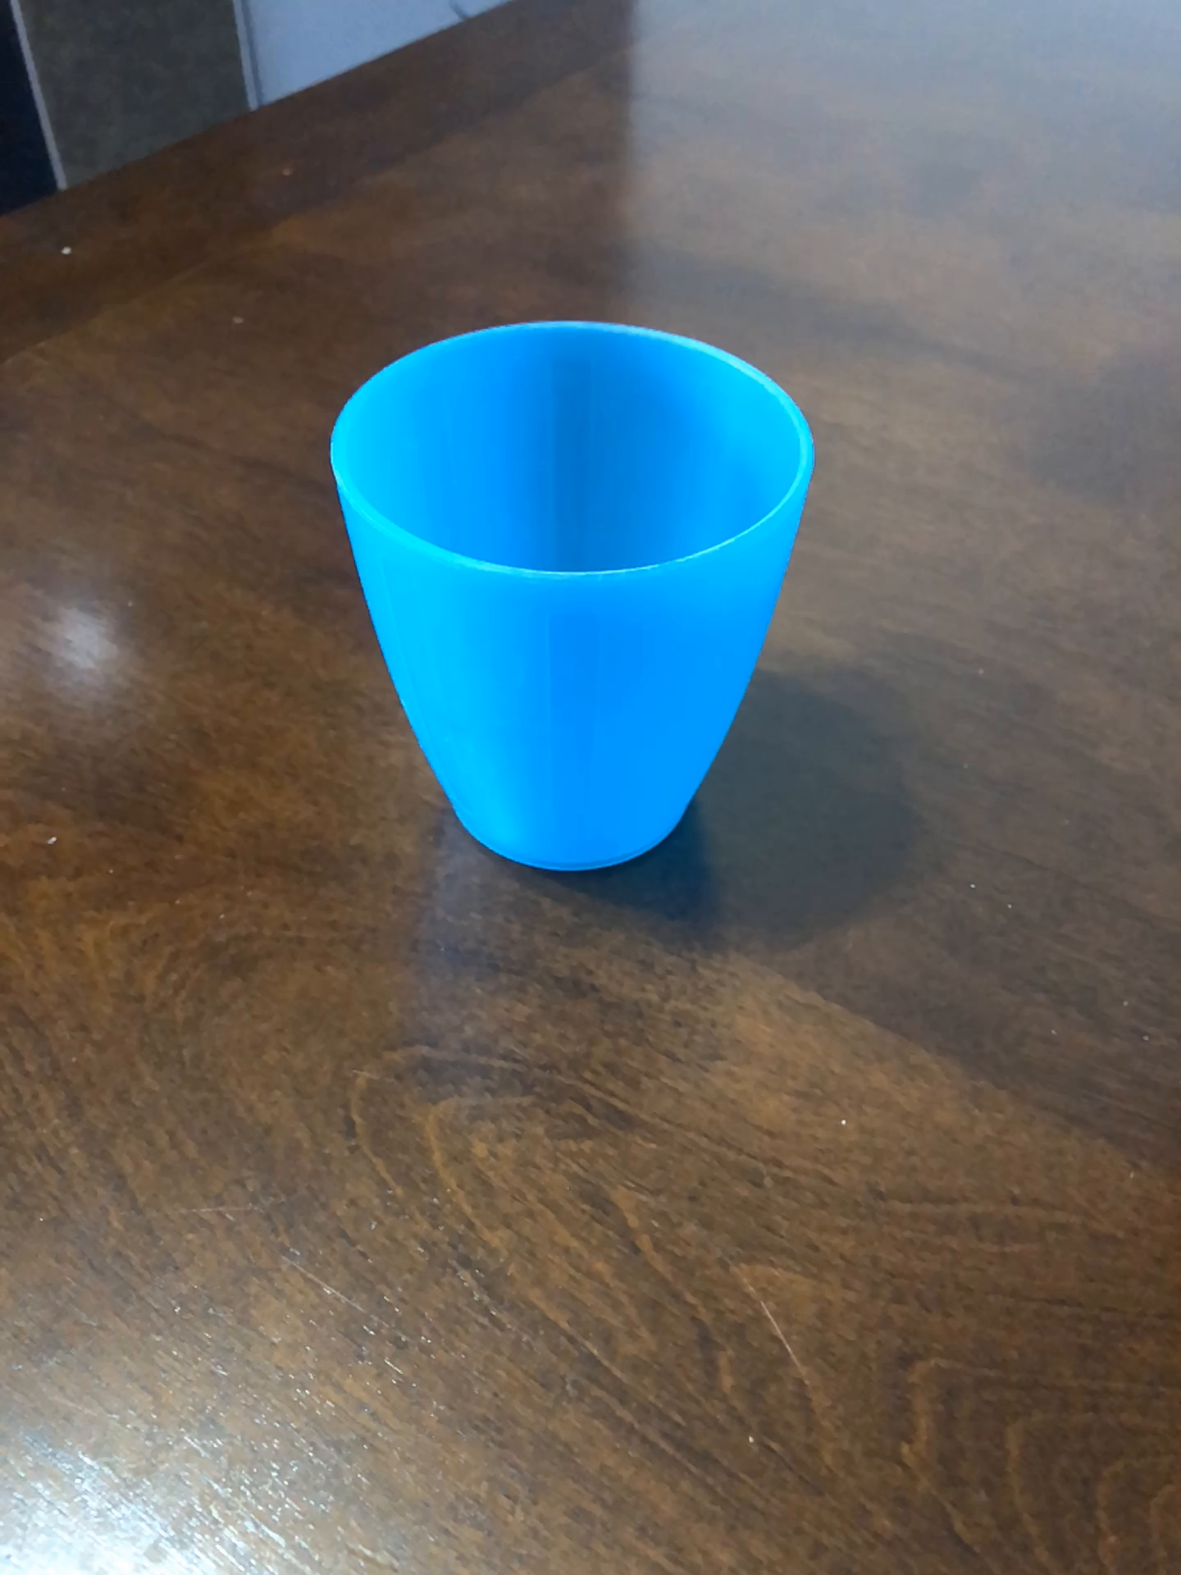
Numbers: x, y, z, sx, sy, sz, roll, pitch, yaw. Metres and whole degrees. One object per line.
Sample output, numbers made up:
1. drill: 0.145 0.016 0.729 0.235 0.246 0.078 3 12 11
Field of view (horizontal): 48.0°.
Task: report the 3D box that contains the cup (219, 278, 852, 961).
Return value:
1. cup: -0.005 -0.030 0.231 0.080 0.080 0.070 11 46 10
